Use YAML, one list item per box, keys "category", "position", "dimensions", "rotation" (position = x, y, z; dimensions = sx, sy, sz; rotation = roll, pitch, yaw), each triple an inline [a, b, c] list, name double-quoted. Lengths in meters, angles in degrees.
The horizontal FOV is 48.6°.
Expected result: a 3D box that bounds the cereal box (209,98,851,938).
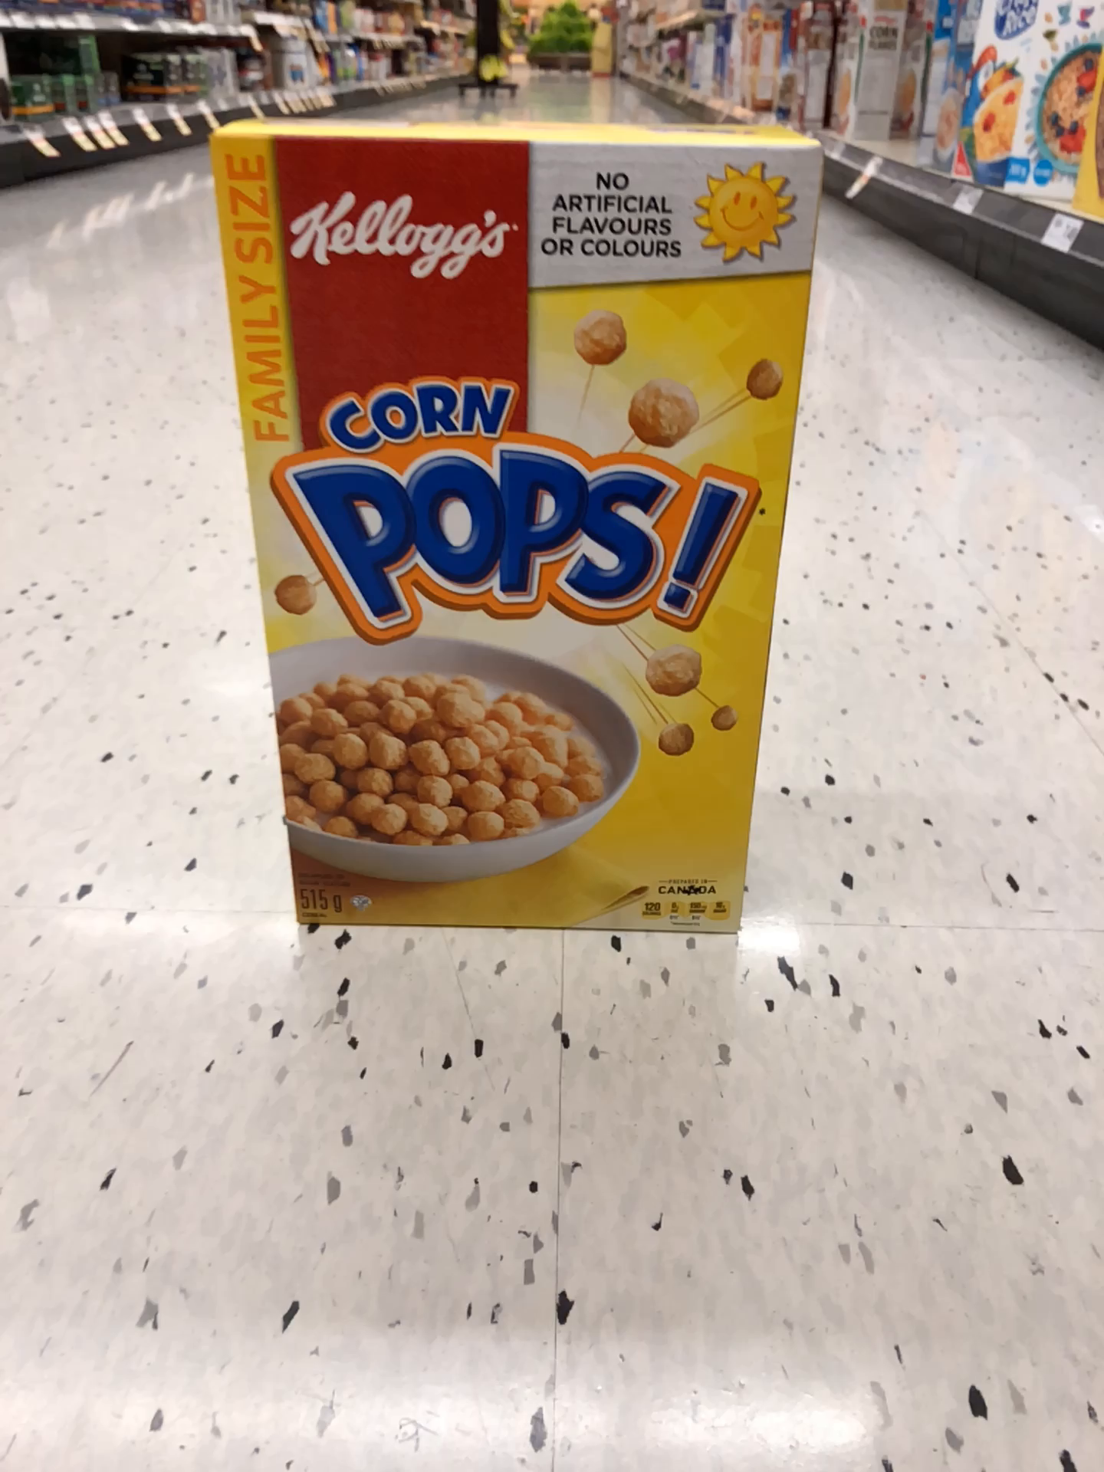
- category: "cereal box"
  position: [-0.009, -0.078, 0.501]
  dimensions: [0.200, 0.318, 0.101]
  rotation: [1, 29, 0]
